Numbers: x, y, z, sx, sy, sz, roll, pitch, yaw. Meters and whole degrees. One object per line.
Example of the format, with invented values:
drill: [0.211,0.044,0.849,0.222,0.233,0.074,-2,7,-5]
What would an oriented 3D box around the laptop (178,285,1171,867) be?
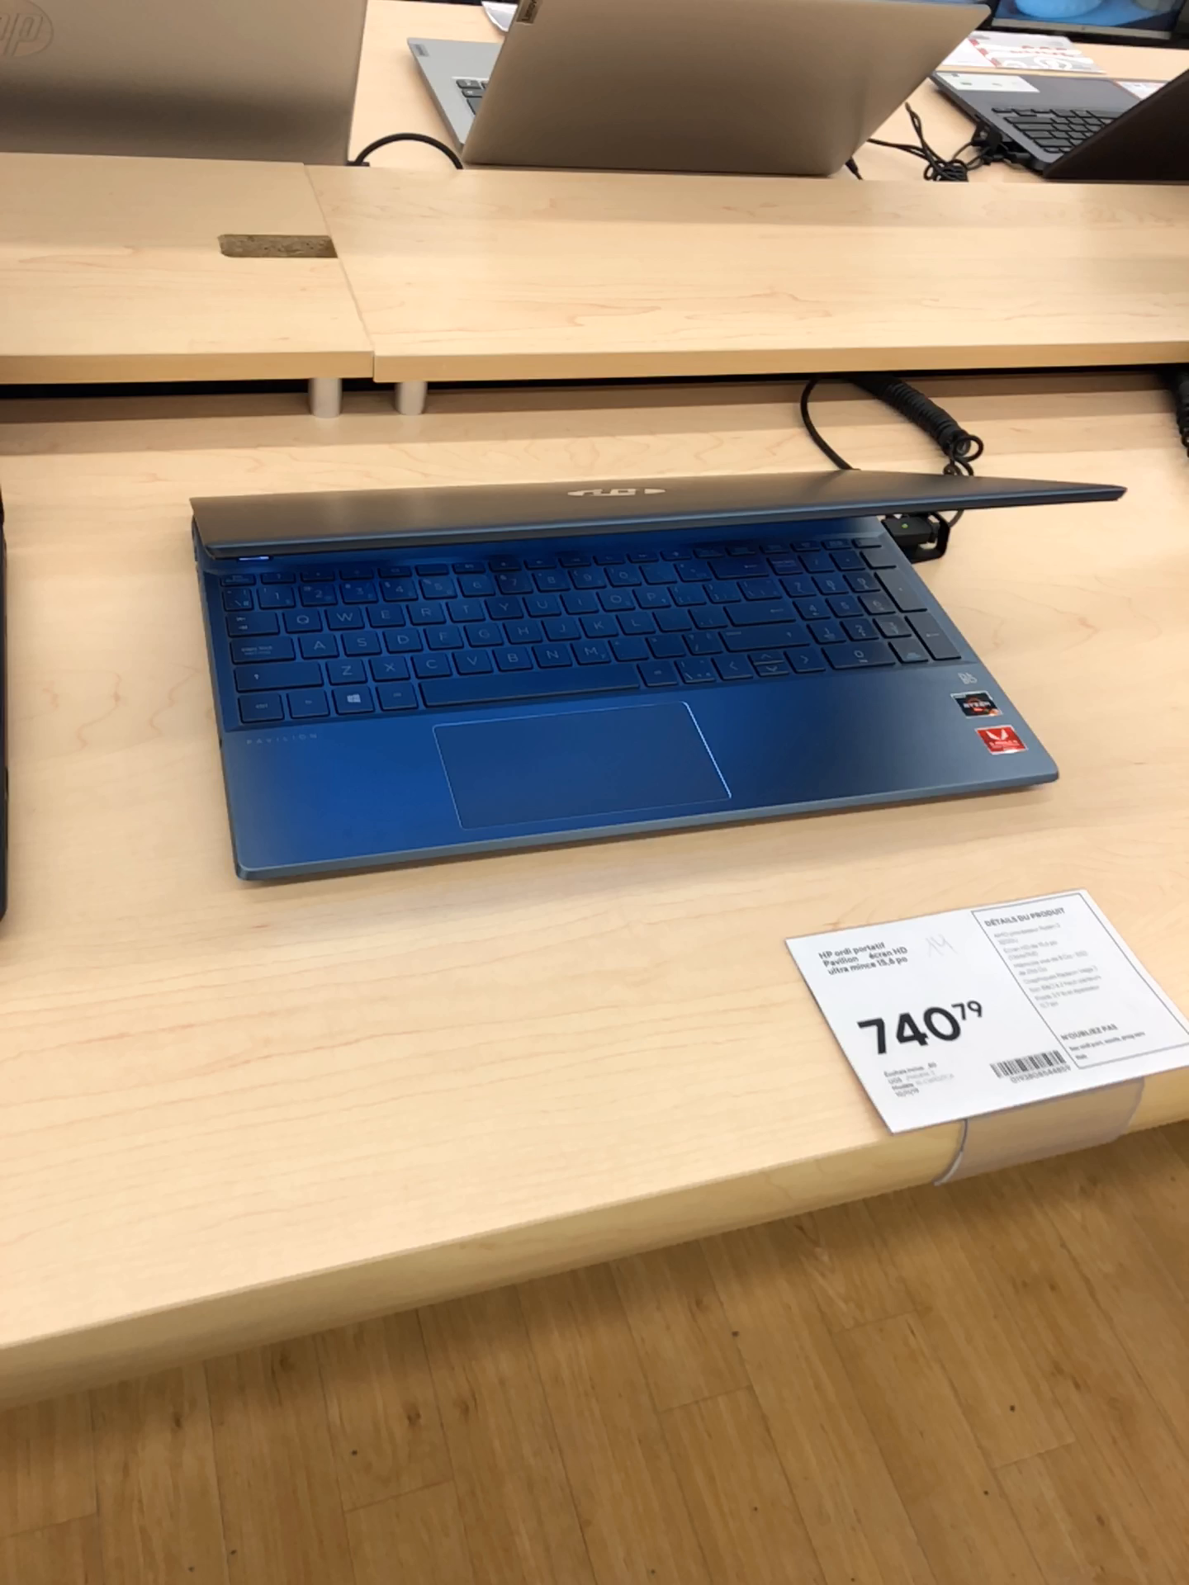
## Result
laptop: [0.018,-0.108,0.557,0.350,0.119,0.209,-6,48,-17]
